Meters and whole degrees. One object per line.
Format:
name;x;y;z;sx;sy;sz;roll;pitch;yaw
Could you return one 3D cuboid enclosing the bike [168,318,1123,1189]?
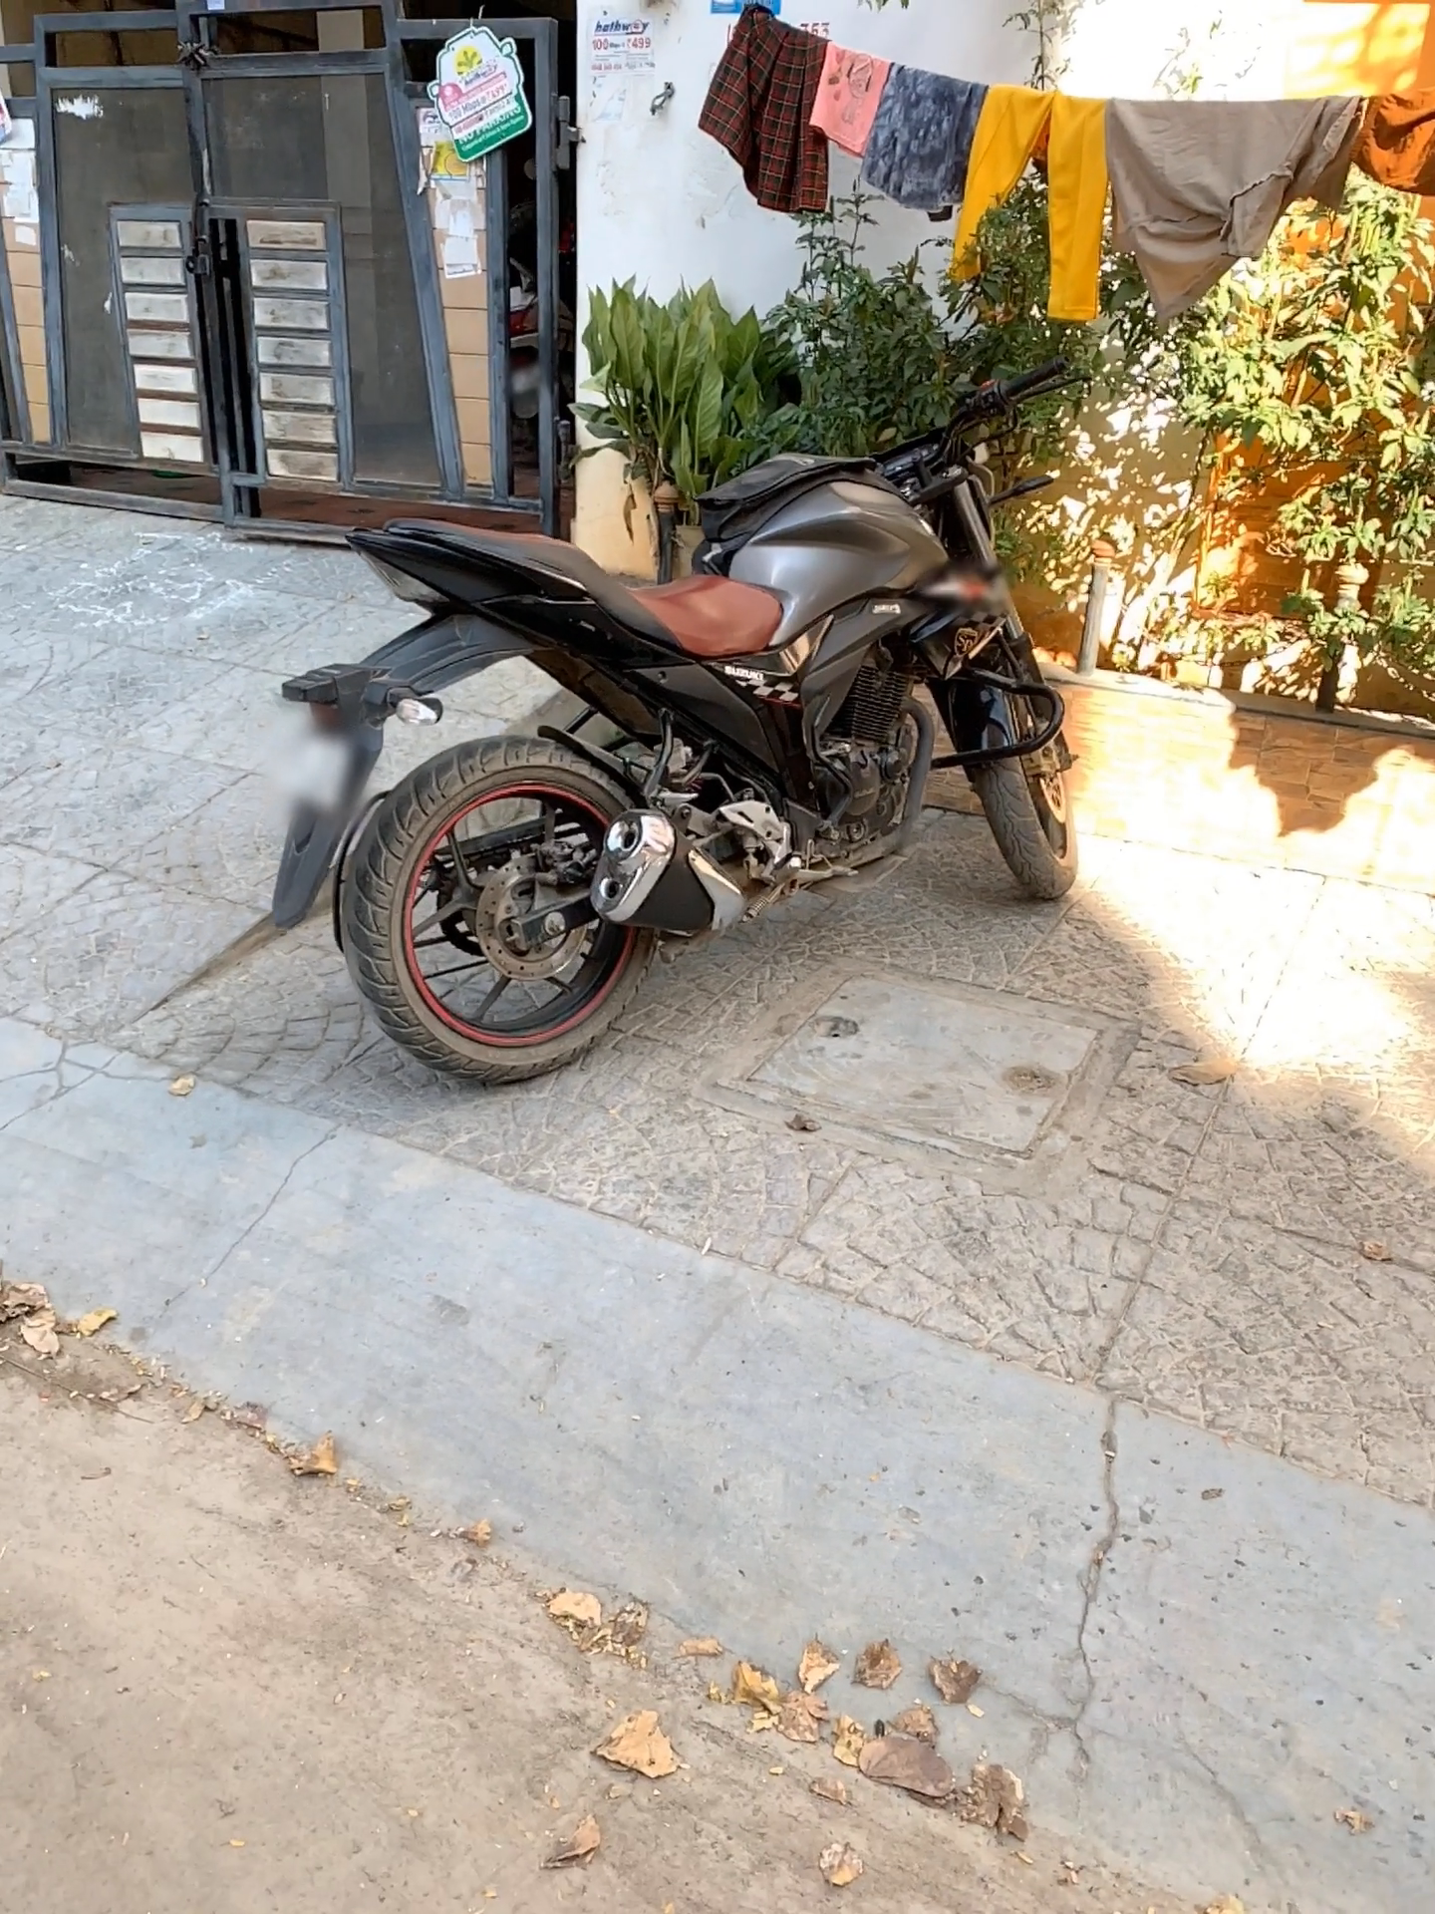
bike;-0.065;-0.562;2.763;0.810;1.140;1.628;23;32;39
